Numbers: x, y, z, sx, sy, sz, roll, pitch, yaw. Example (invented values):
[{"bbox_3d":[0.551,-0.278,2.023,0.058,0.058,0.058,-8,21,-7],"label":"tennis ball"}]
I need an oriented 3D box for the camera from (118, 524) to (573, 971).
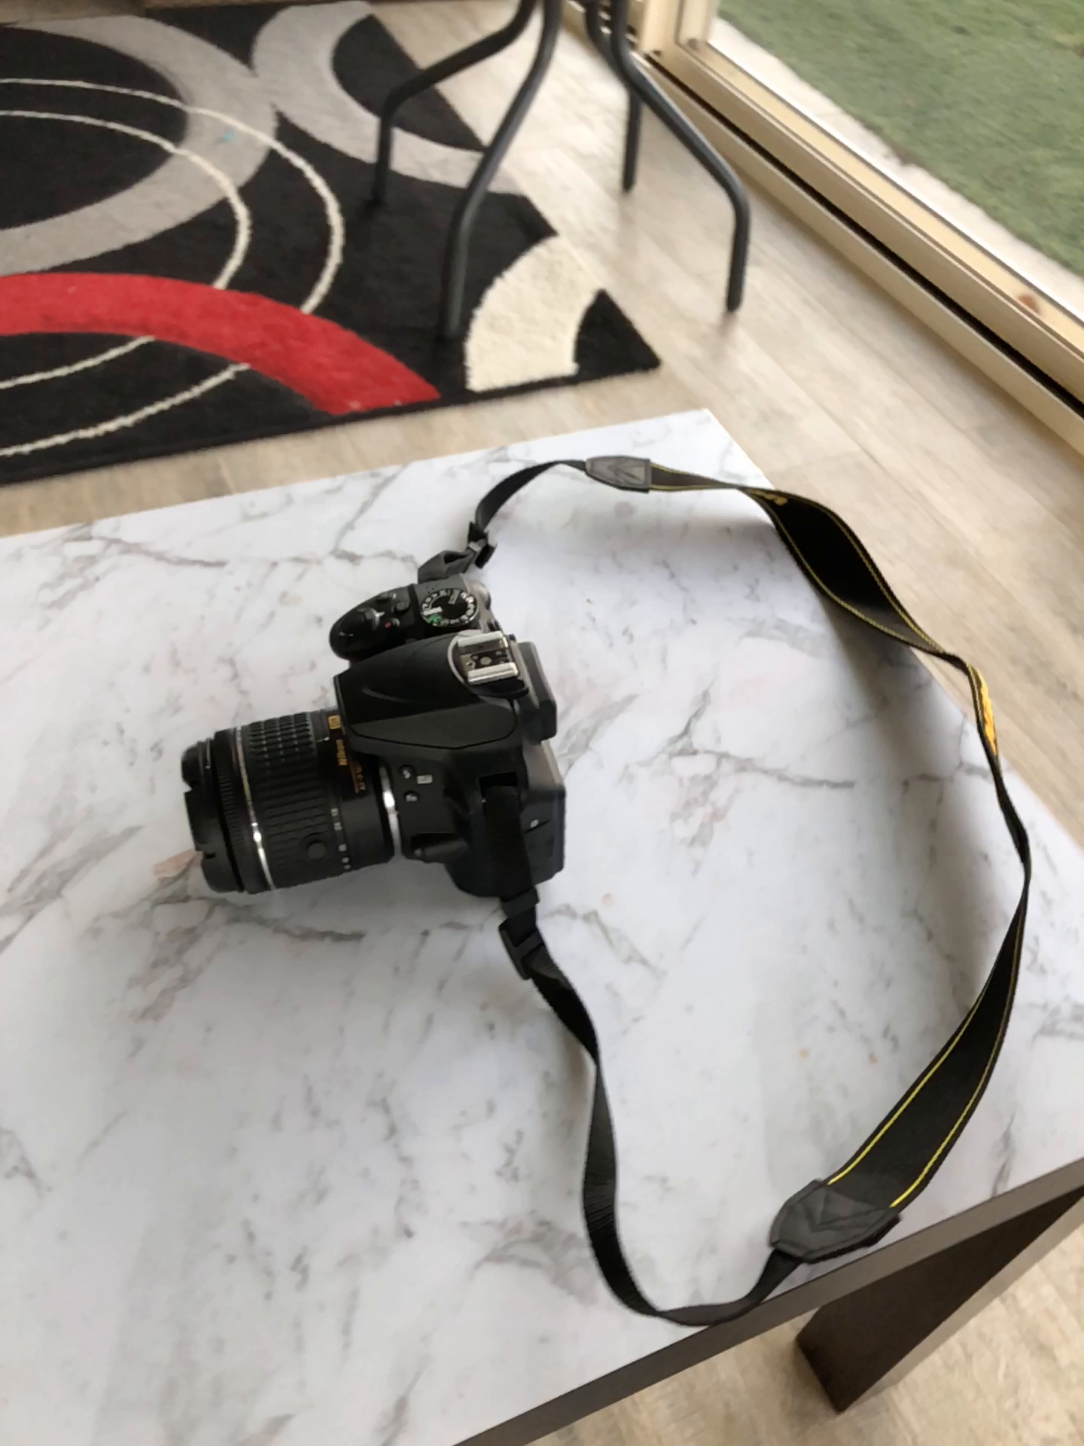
[{"bbox_3d":[-0.075,0.005,0.454,0.138,0.076,0.122,-13,51,-13],"label":"camera"}]
